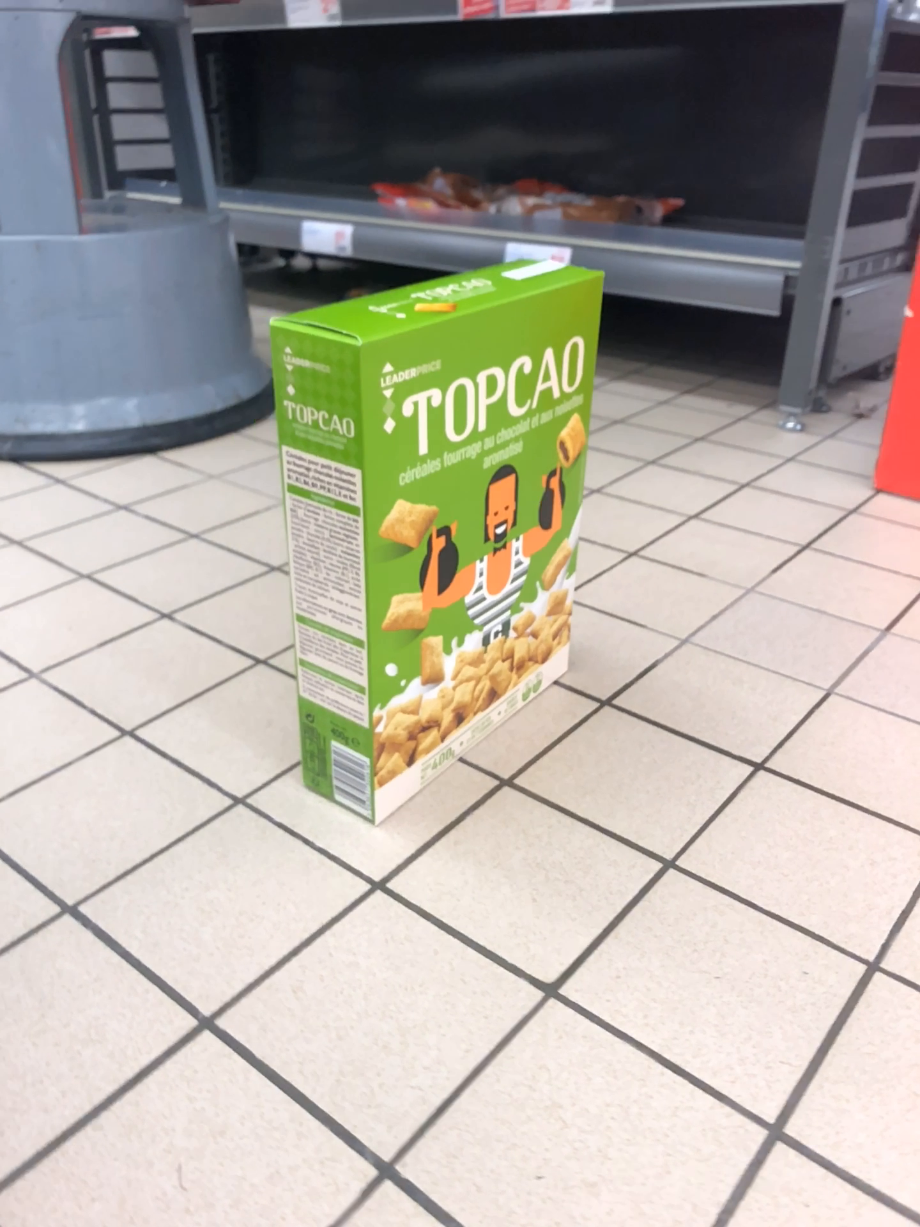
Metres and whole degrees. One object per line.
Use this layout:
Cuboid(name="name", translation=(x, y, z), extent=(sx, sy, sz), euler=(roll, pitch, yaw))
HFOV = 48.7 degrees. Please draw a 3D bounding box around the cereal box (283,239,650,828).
Cuboid(name="cereal box", translation=(0.009, -0.049, 0.531), extent=(0.060, 0.248, 0.201), euler=(23, 36, 31))
